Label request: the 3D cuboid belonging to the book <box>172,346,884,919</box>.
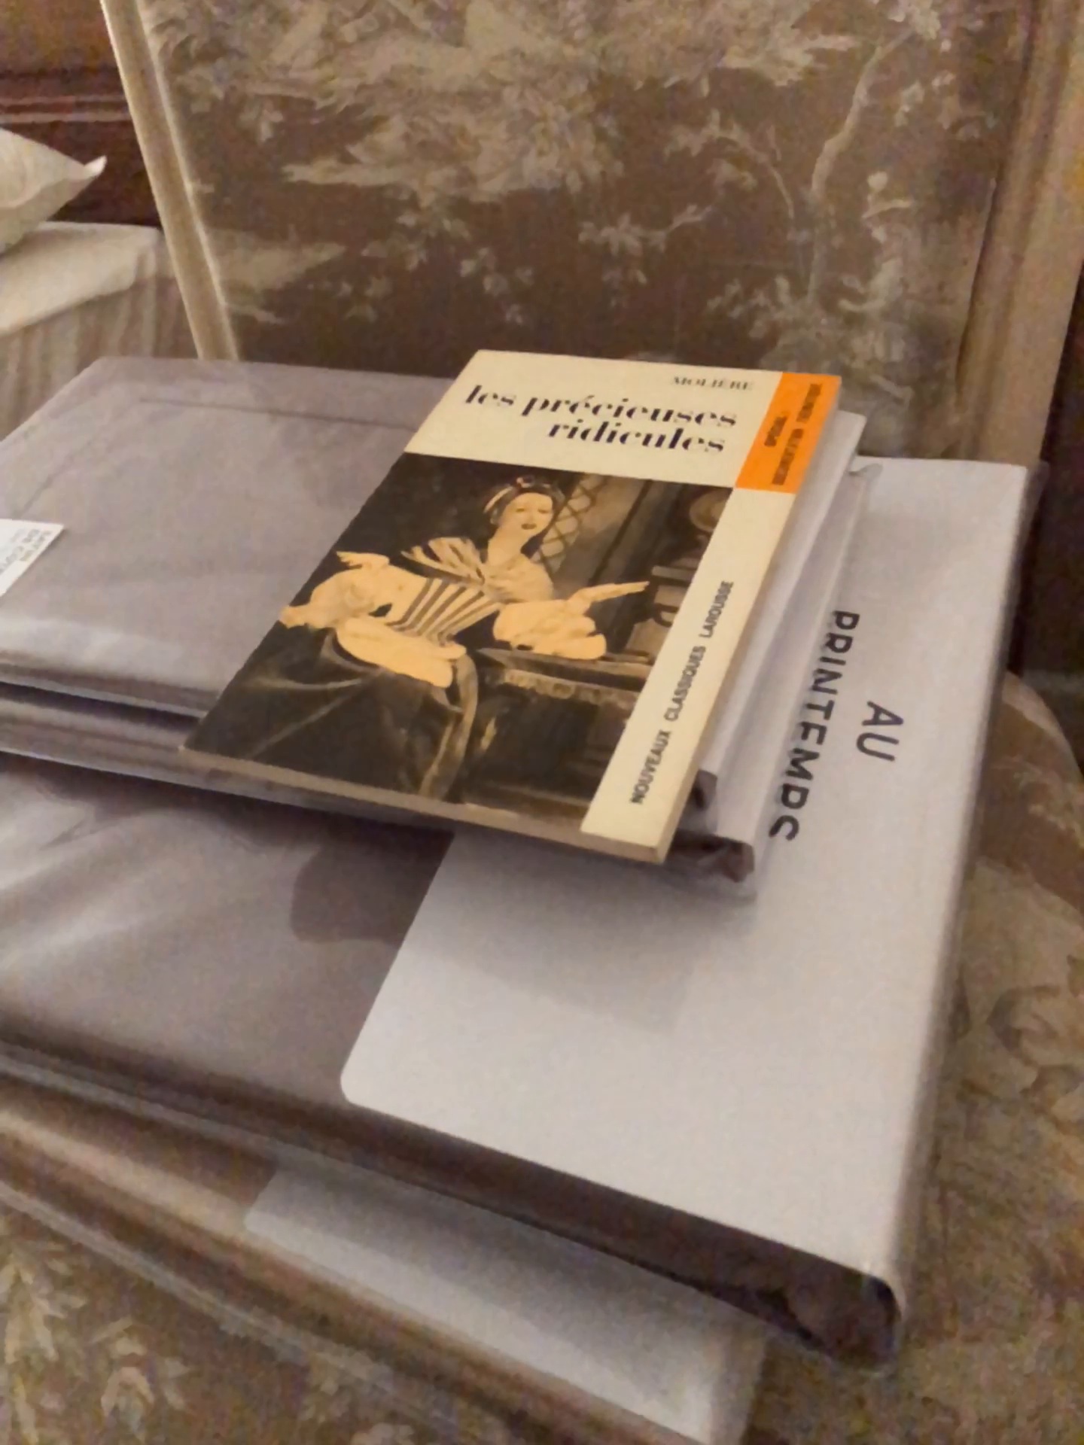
[{"bbox_3d":[0.009,-0.040,0.303,0.120,0.020,0.181,9,47,21],"label":"book"}]
